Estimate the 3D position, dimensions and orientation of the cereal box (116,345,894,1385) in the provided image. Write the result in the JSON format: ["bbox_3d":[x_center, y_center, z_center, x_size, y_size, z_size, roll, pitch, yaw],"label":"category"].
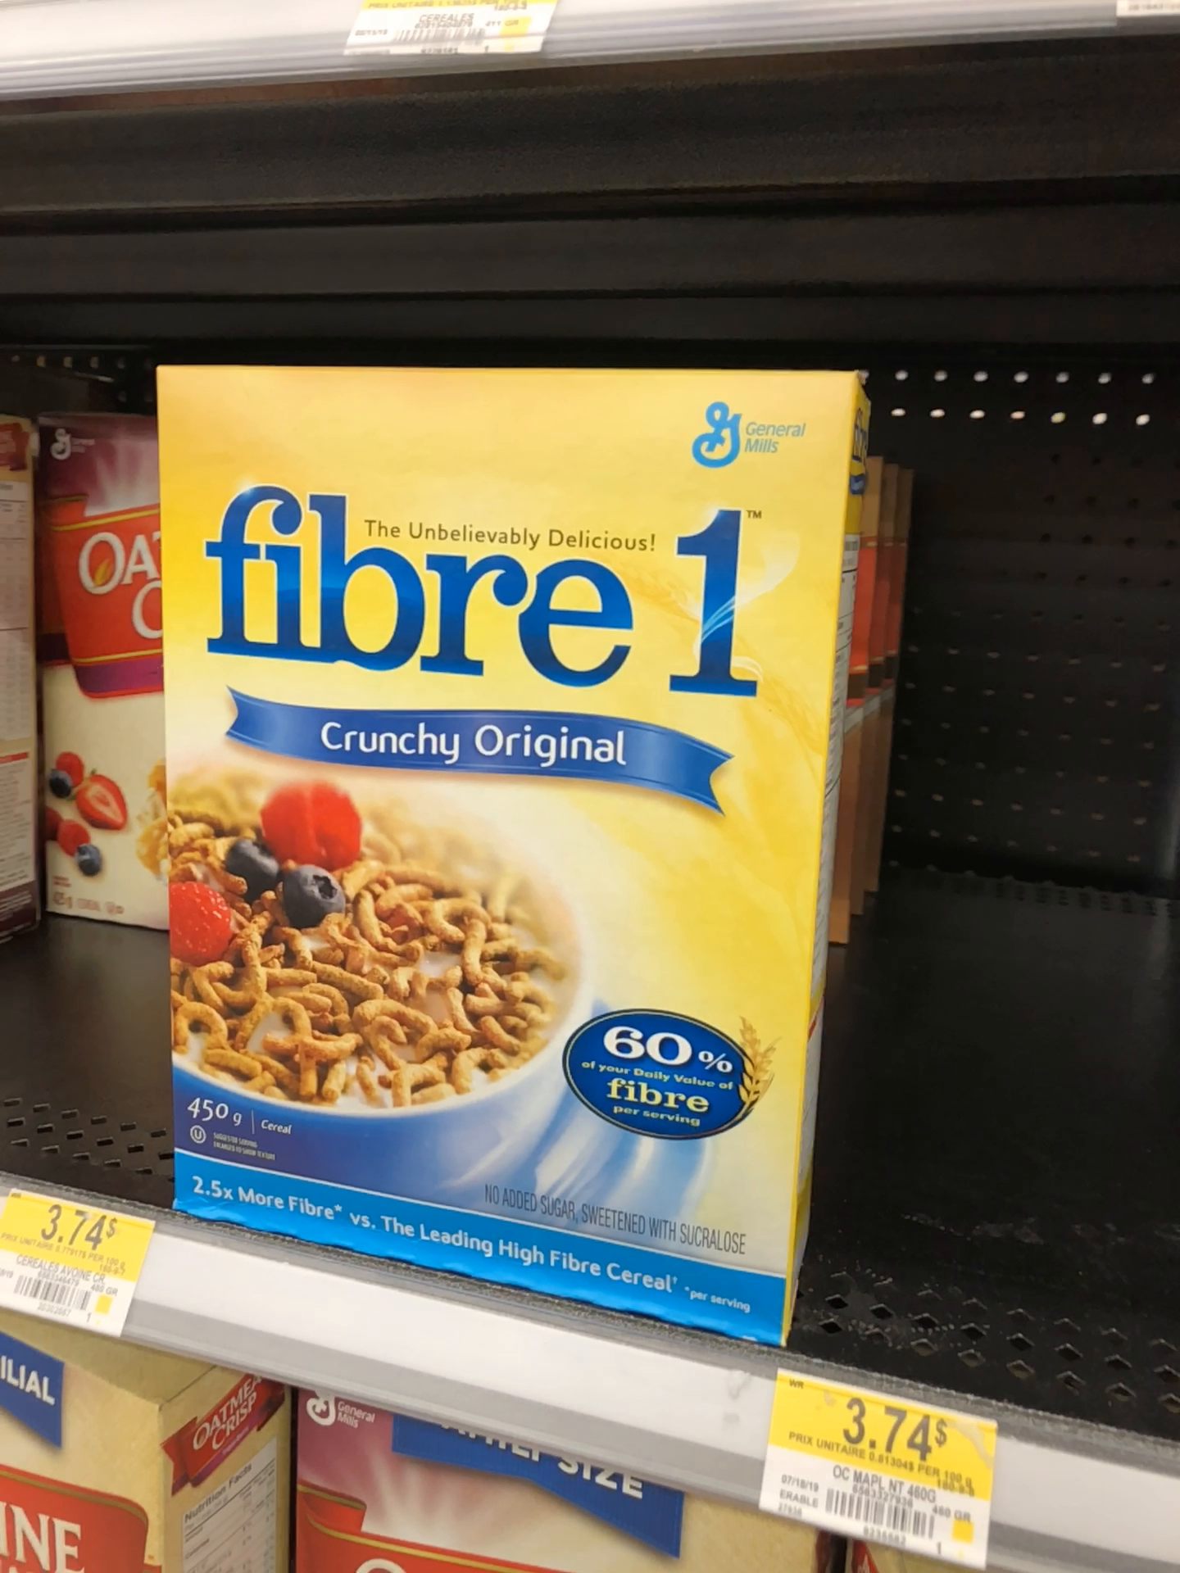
[{"bbox_3d":[-0.029,0.013,0.373,0.200,0.259,0.060,6,12,17],"label":"cereal box"}]
